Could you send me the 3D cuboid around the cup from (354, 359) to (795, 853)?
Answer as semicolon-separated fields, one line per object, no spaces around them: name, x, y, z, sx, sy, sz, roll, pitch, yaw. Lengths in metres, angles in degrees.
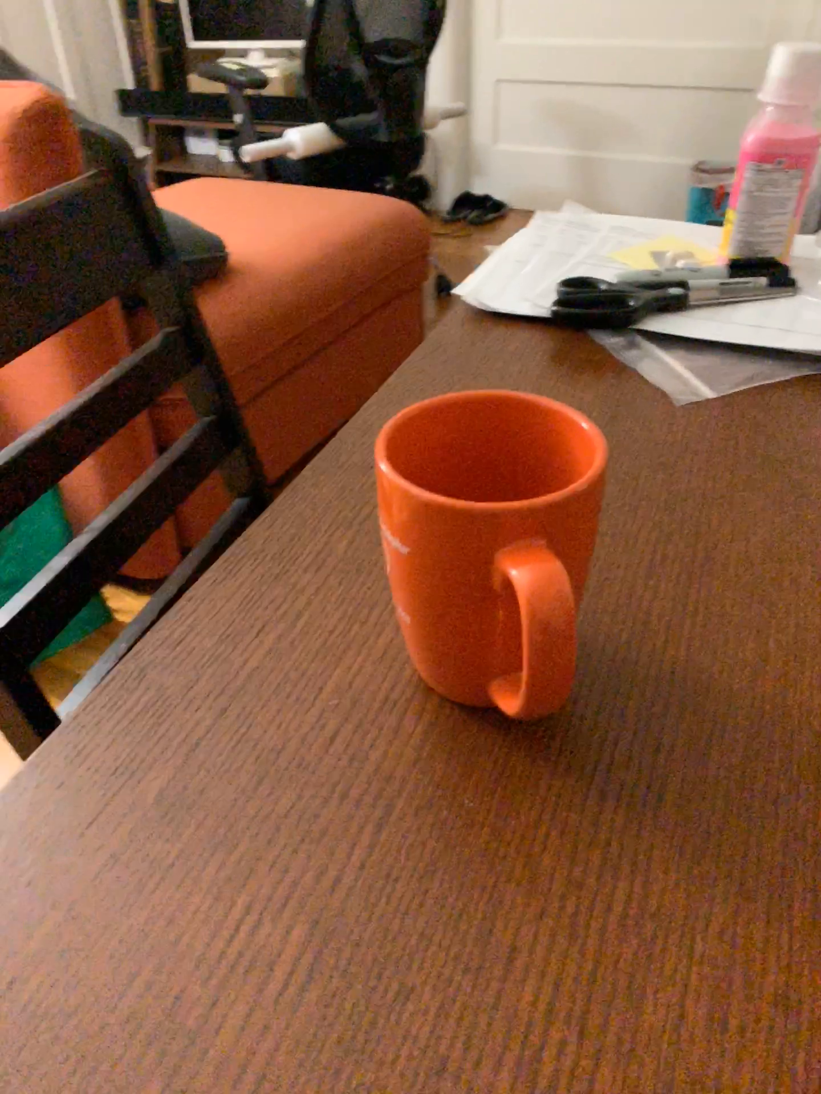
cup;0.047;0.014;0.317;0.100;0.109;0.131;-12;38;-12
